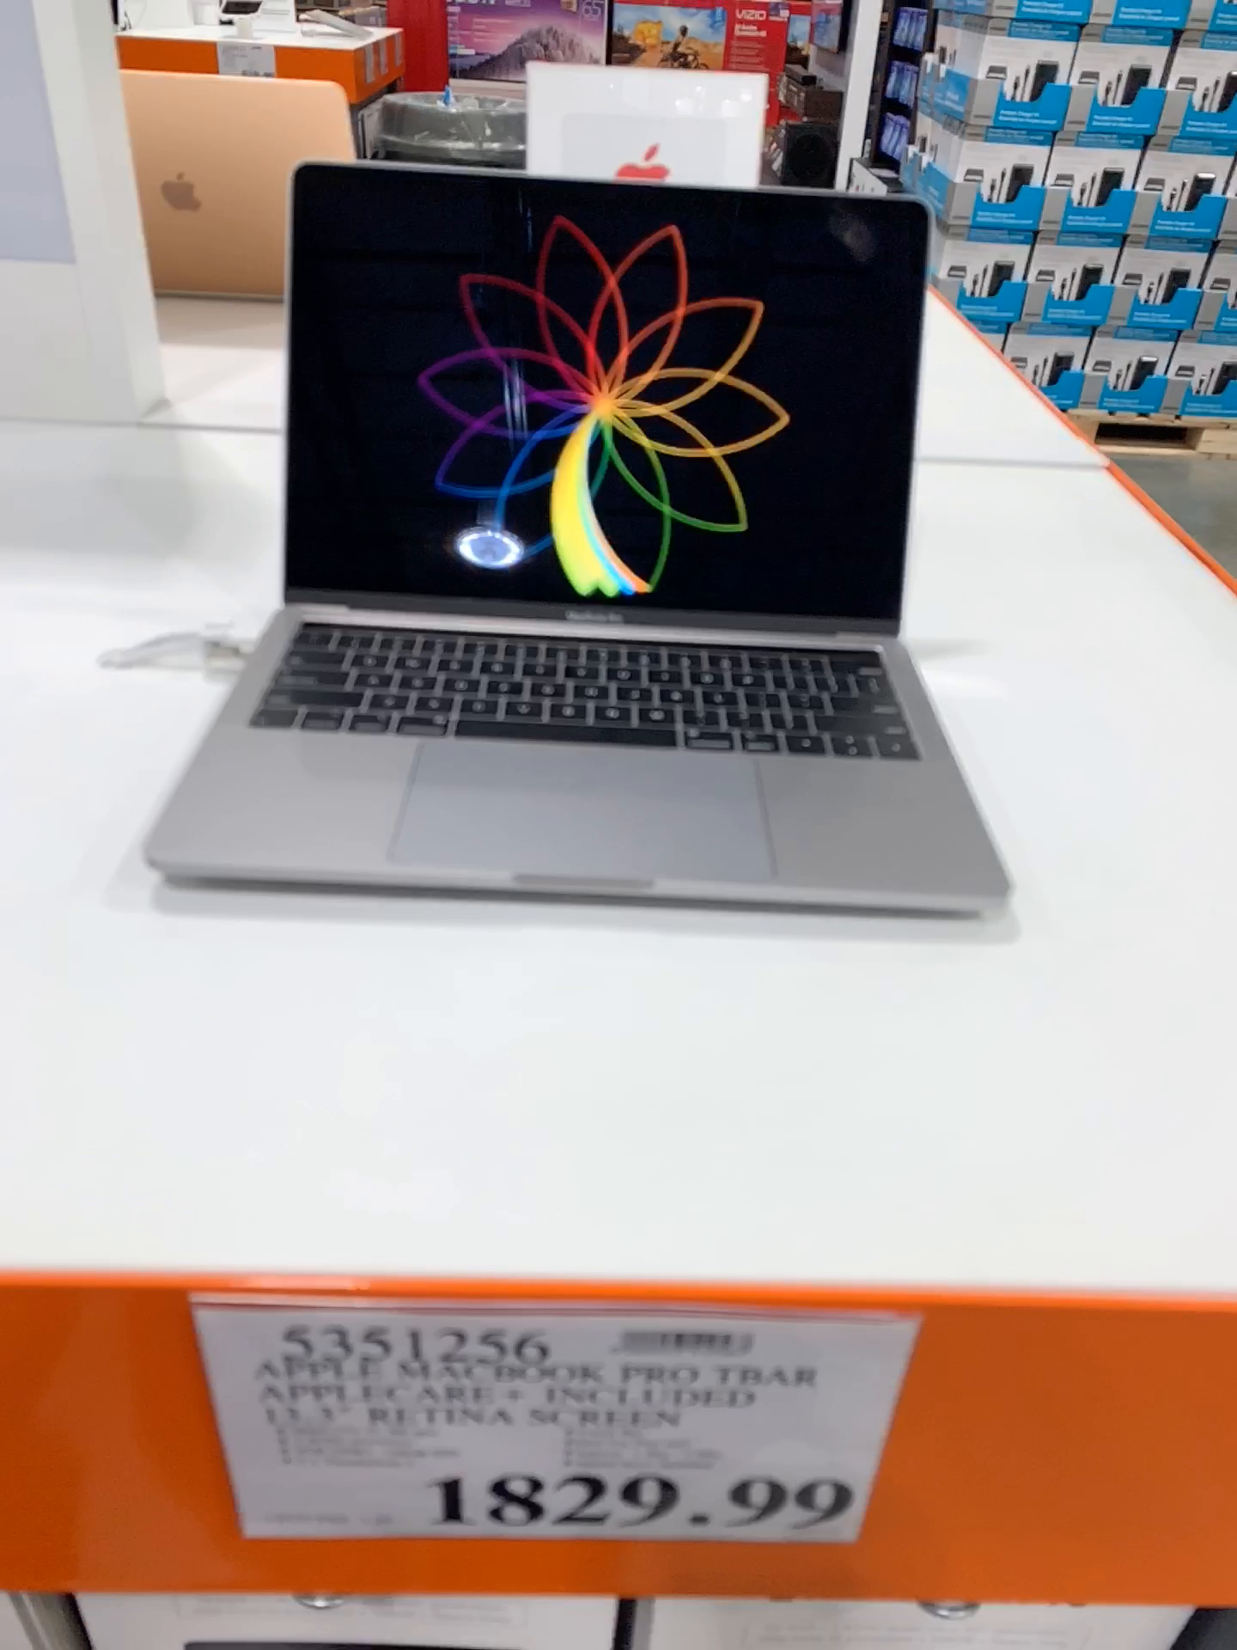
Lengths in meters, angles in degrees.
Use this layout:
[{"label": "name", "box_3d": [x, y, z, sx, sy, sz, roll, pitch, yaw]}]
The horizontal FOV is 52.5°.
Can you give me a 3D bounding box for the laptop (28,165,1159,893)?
[{"label": "laptop", "box_3d": [-0.007, -0.139, 0.492, 0.289, 0.164, 0.308, 3, 34, -1]}]
